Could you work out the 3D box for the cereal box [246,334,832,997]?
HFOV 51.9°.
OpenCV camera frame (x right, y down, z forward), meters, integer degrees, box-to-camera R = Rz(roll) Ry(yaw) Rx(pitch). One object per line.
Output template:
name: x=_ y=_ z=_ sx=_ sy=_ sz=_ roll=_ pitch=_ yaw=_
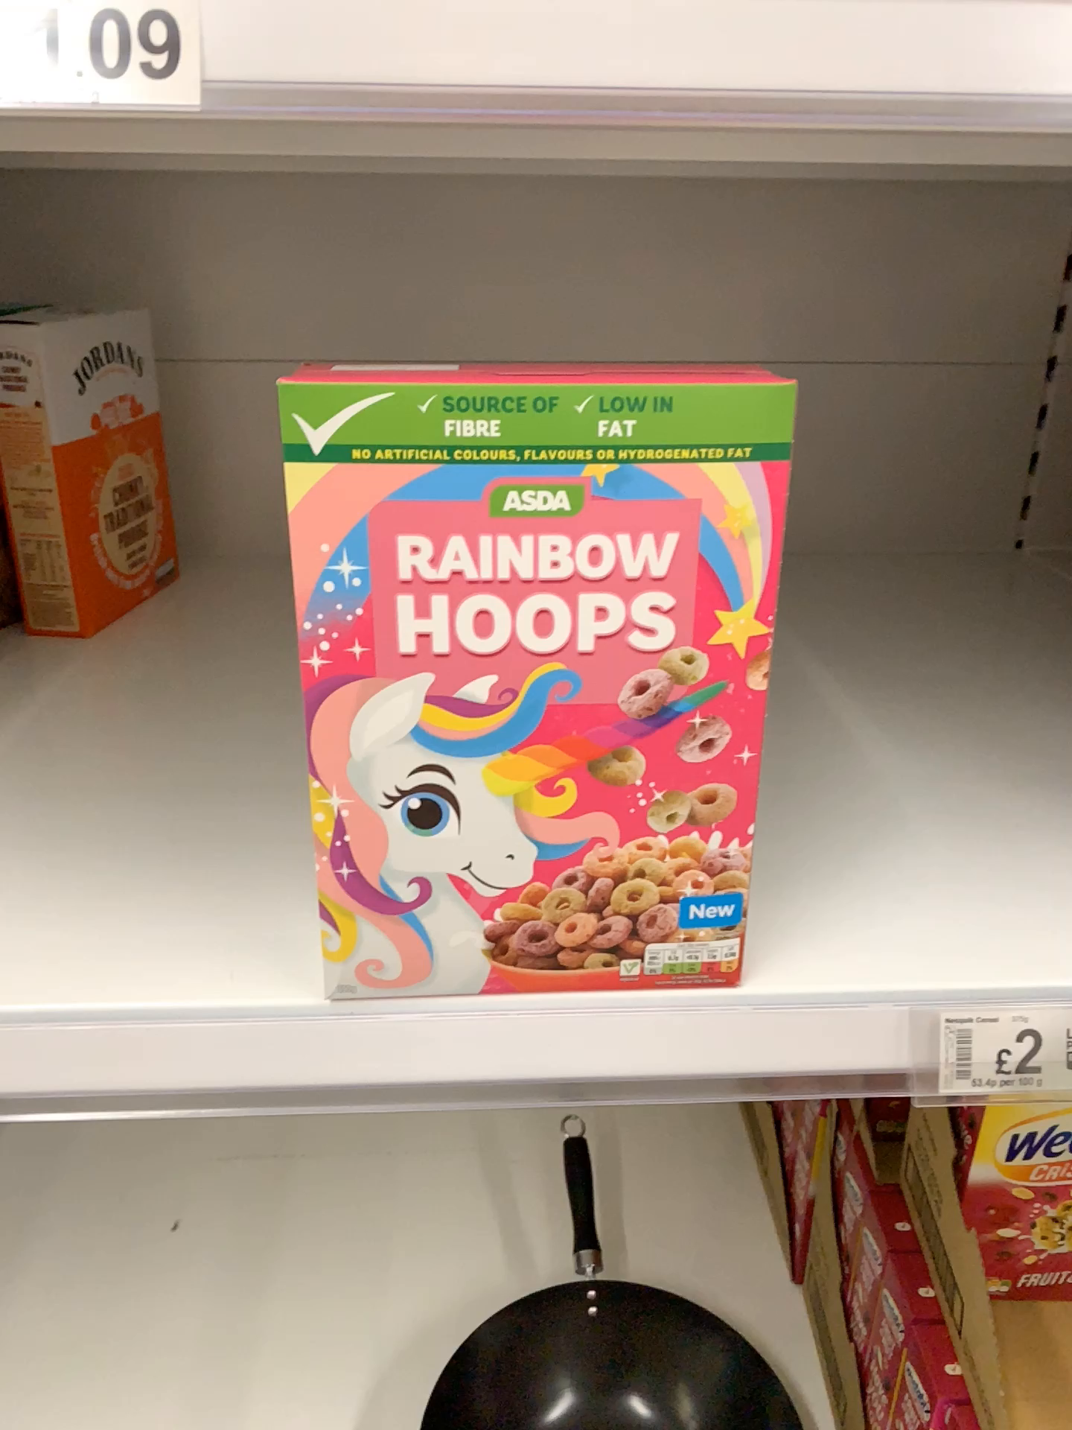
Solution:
cereal box: x=0.000 y=-0.015 z=0.475 sx=0.210 sy=0.278 sz=0.060 roll=-1 pitch=23 yaw=-3
